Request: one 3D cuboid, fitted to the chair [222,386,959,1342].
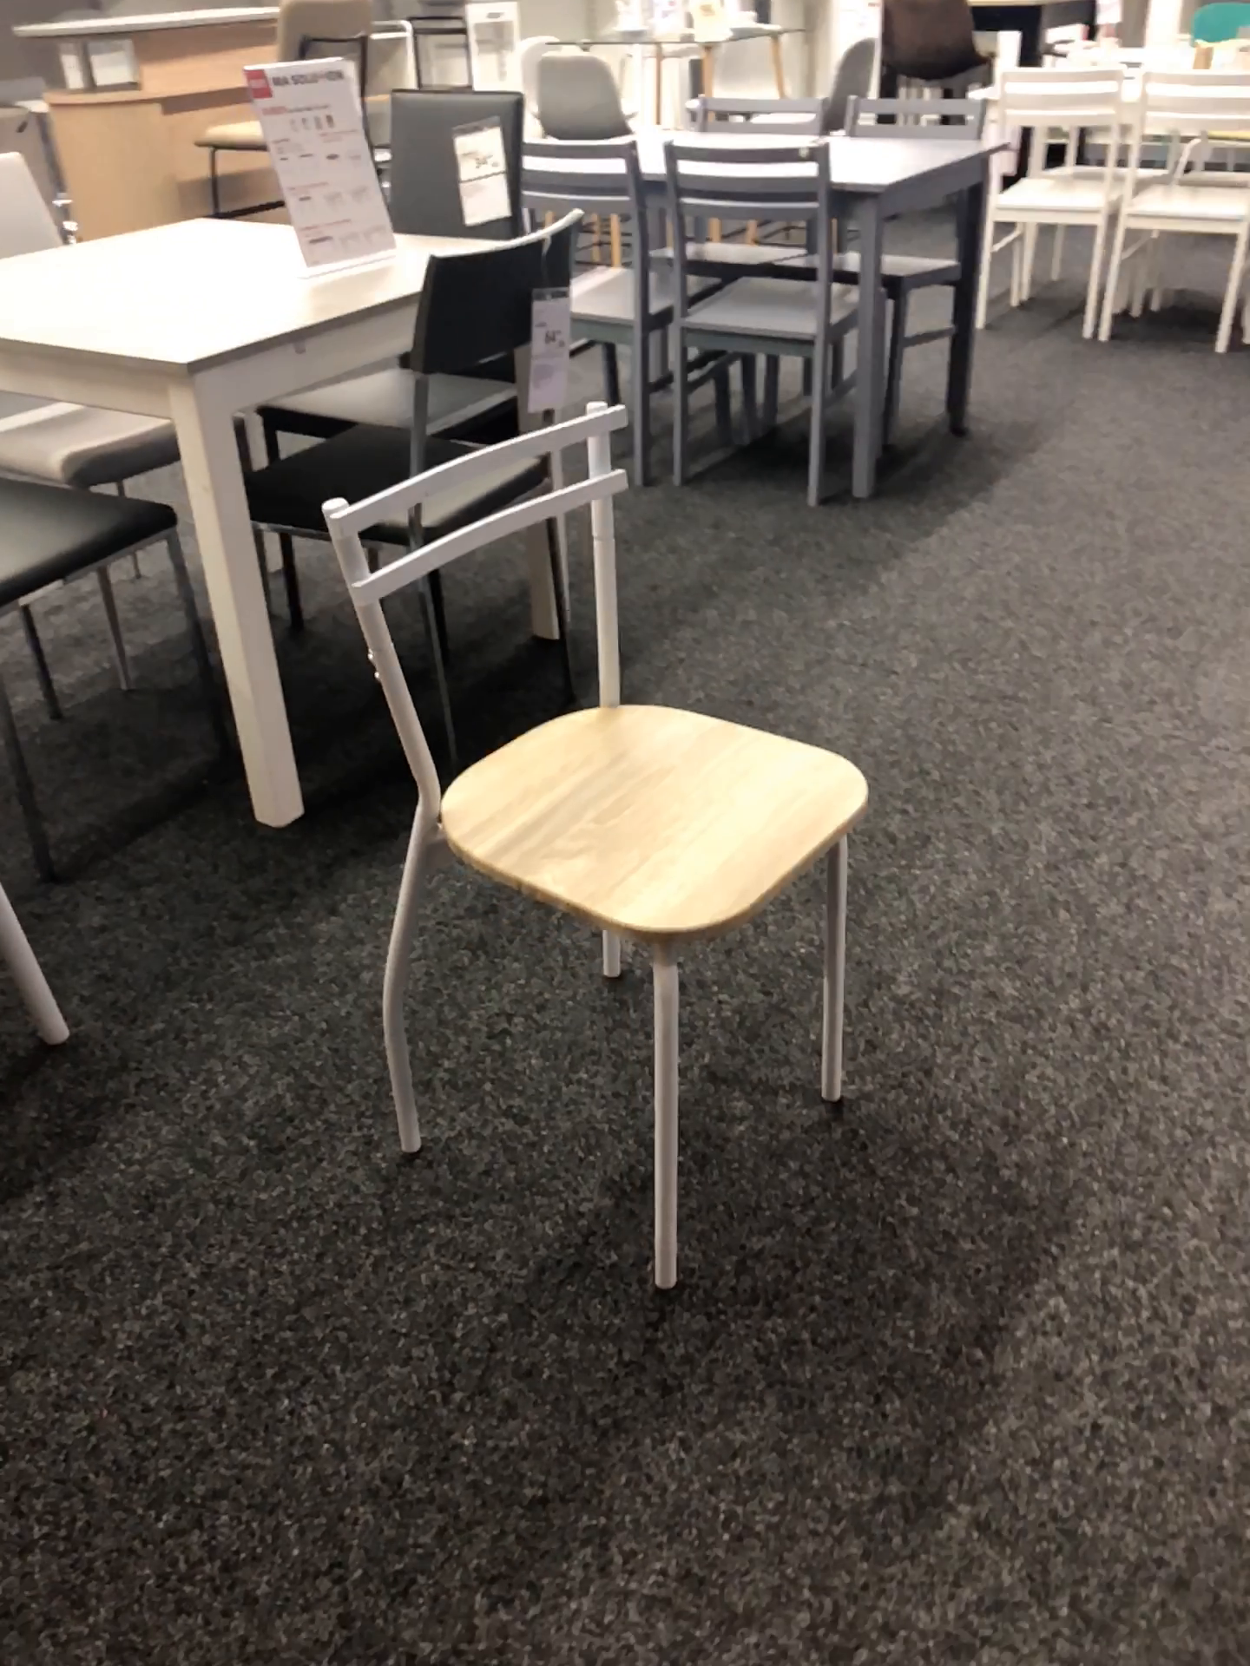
[{"bbox_3d":[0.001,0.000,1.390,0.440,0.726,0.503,17,37,28],"label":"chair"}]
